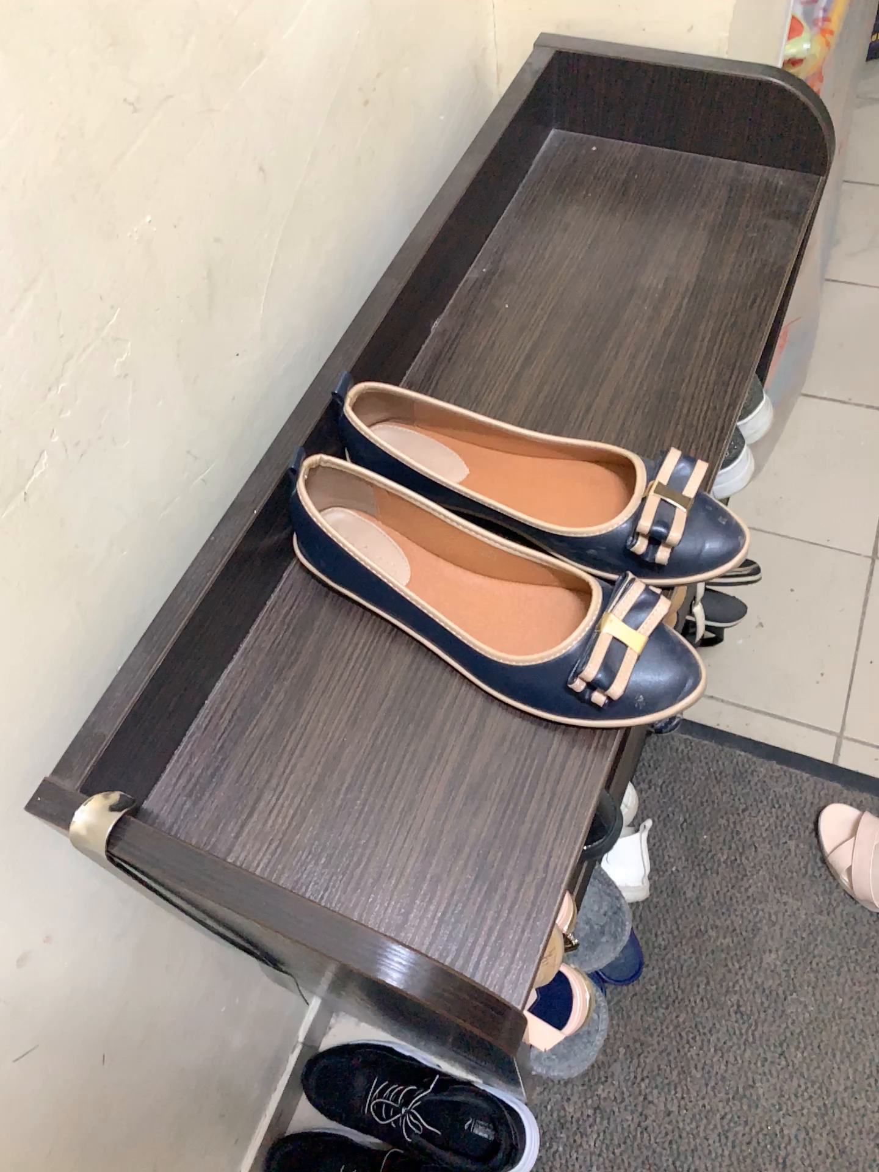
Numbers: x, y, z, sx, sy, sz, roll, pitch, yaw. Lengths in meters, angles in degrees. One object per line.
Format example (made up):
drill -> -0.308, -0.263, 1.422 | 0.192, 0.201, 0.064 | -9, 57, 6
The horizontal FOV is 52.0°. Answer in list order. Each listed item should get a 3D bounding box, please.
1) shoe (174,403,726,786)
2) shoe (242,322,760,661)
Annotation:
shoe -> 0.005, 0.001, 0.521 | 0.280, 0.100, 0.100 | 21, 69, 19
shoe -> 0.035, -0.062, 0.559 | 0.280, 0.100, 0.100 | 19, 68, 18
